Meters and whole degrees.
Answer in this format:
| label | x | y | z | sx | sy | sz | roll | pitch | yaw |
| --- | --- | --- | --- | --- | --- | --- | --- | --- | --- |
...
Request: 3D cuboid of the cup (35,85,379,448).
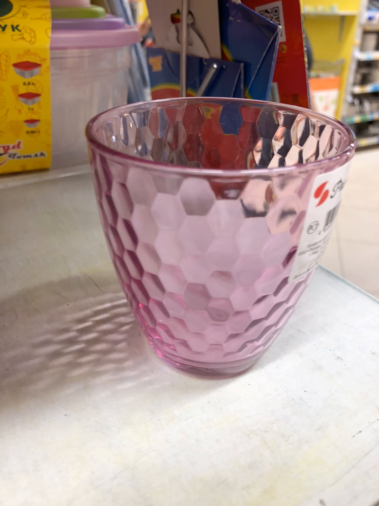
| label | x | y | z | sx | sy | sz | roll | pitch | yaw |
| --- | --- | --- | --- | --- | --- | --- | --- | --- | --- |
| cup | 0.013 | -0.009 | 0.151 | 0.078 | 0.074 | 0.090 | 26 | 39 | 33 |
